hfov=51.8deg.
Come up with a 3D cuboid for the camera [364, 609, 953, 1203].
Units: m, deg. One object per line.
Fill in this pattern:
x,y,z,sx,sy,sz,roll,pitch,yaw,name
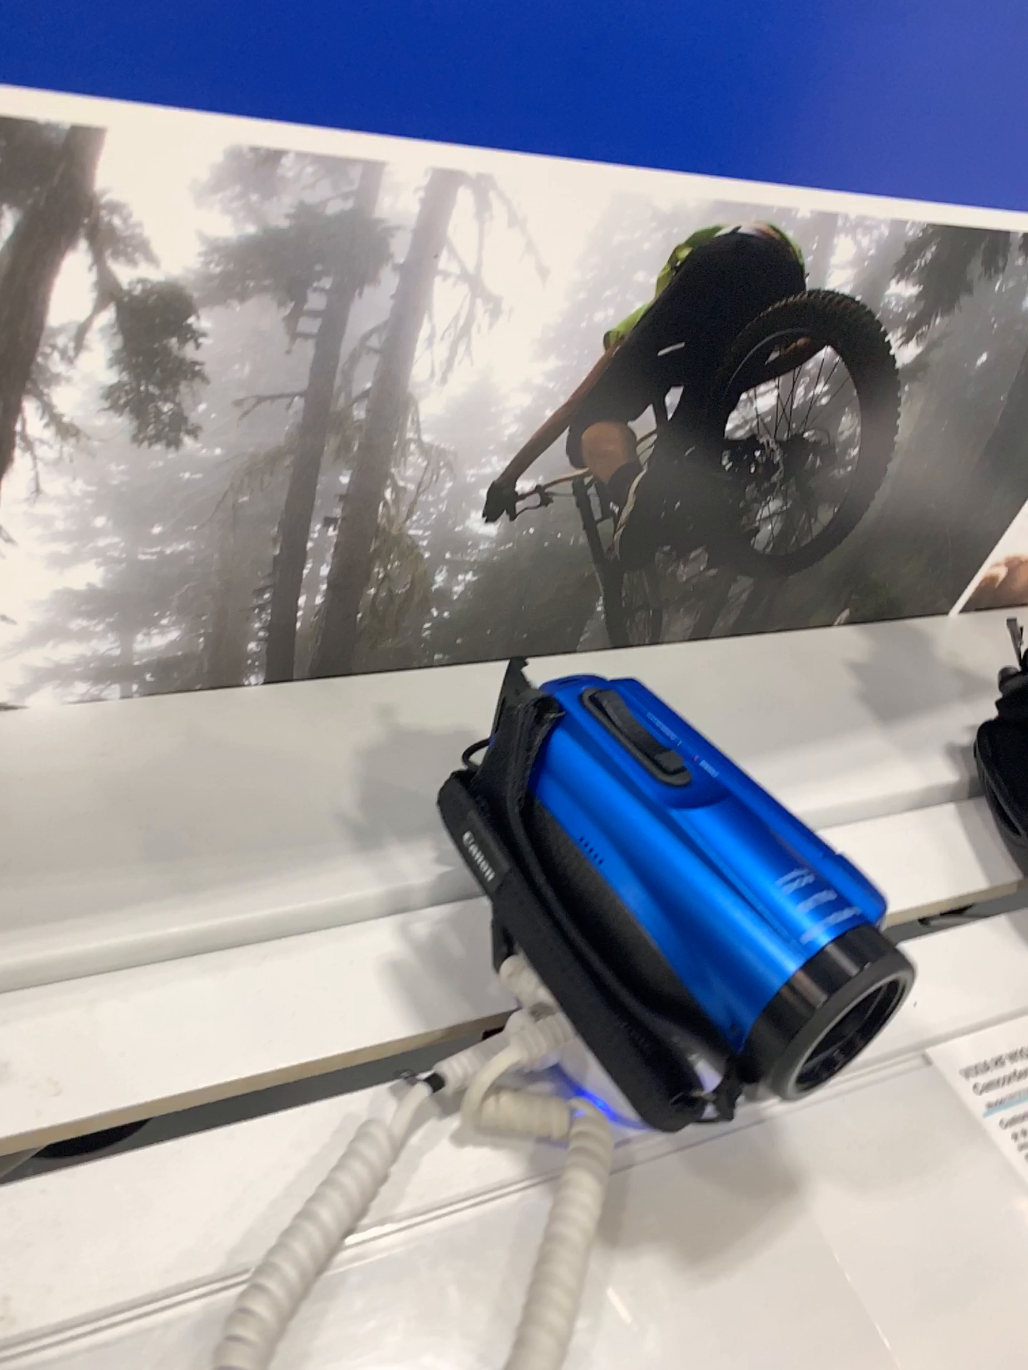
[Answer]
0.029,0.047,0.290,0.072,0.057,0.144,-14,44,-35,camera
